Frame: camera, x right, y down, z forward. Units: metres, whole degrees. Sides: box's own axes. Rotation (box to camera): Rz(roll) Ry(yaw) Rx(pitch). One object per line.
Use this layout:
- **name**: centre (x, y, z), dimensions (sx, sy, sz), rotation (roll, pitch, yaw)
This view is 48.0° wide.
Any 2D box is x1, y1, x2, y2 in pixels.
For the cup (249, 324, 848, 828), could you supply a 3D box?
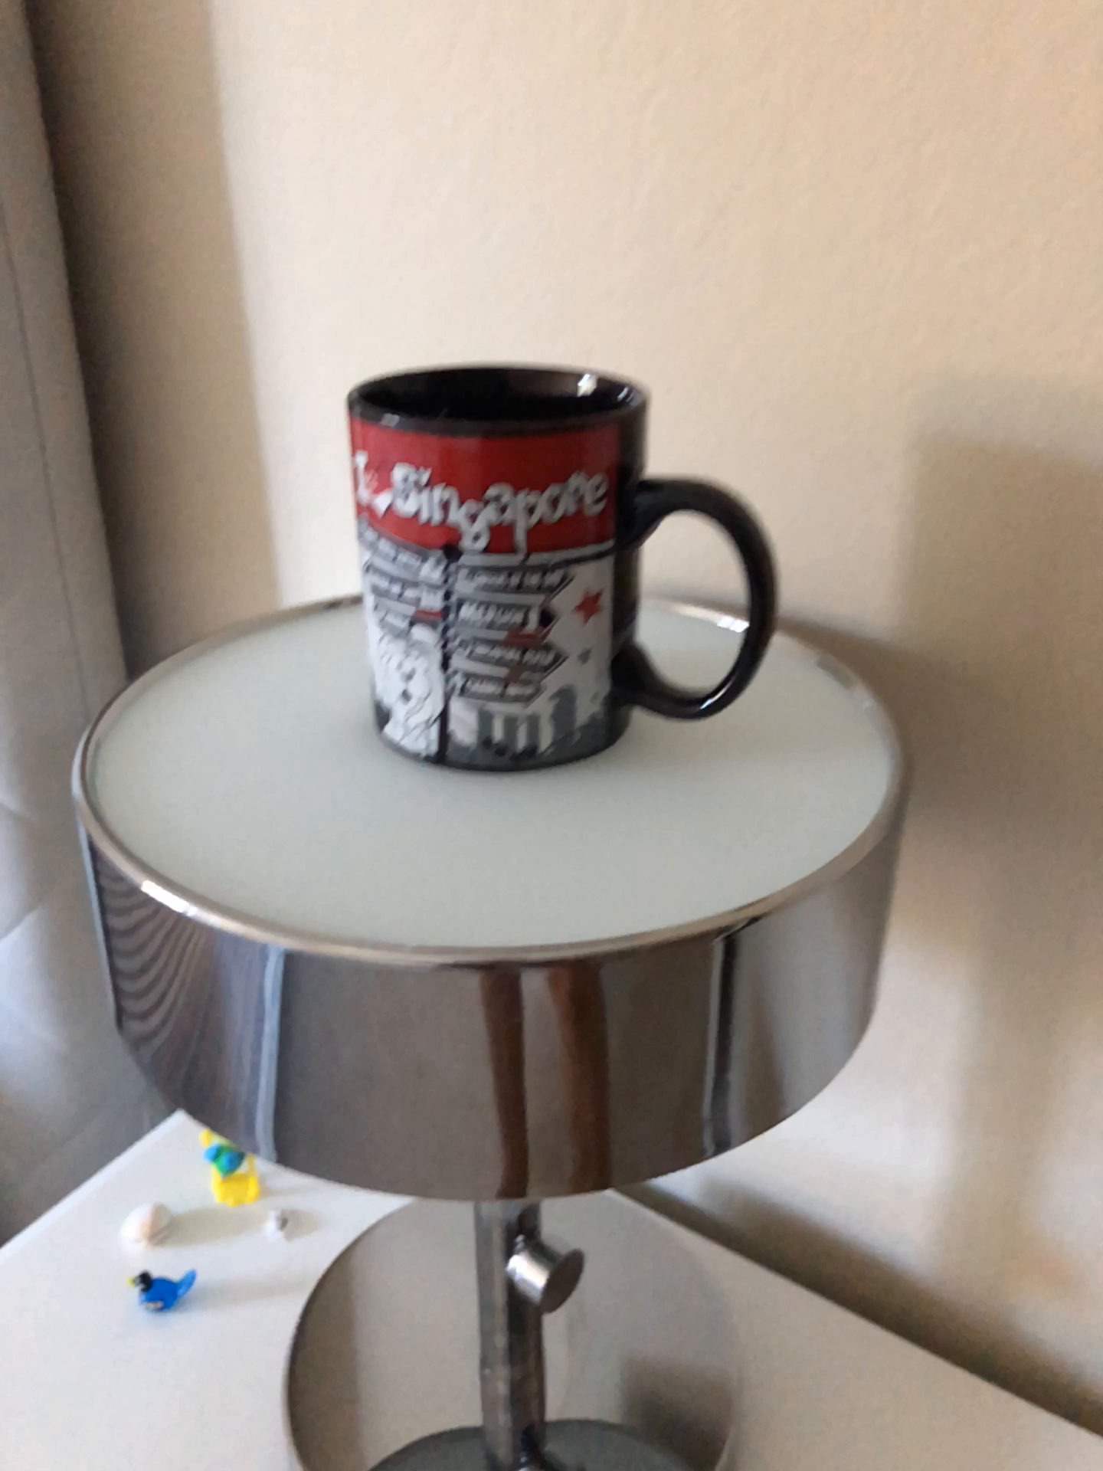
- **cup**: centre (0.003, -0.051, 0.339), dimensions (0.130, 0.100, 0.090), rotation (10, 28, 19)
